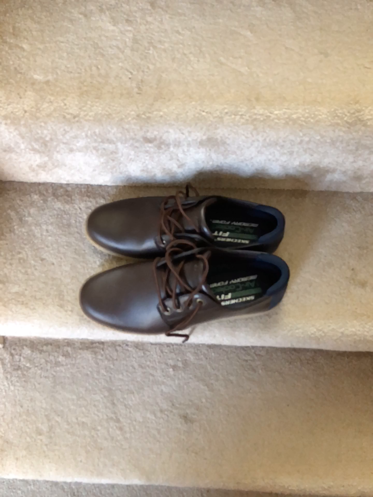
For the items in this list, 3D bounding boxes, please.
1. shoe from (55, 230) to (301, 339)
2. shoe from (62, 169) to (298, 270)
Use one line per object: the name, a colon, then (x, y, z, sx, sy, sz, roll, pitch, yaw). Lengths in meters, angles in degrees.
shoe: (-0.012, 0.053, 0.555, 0.300, 0.090, 0.110, -4, 69, 1)
shoe: (-0.008, -0.038, 0.577, 0.300, 0.090, 0.110, -1, 69, 2)
